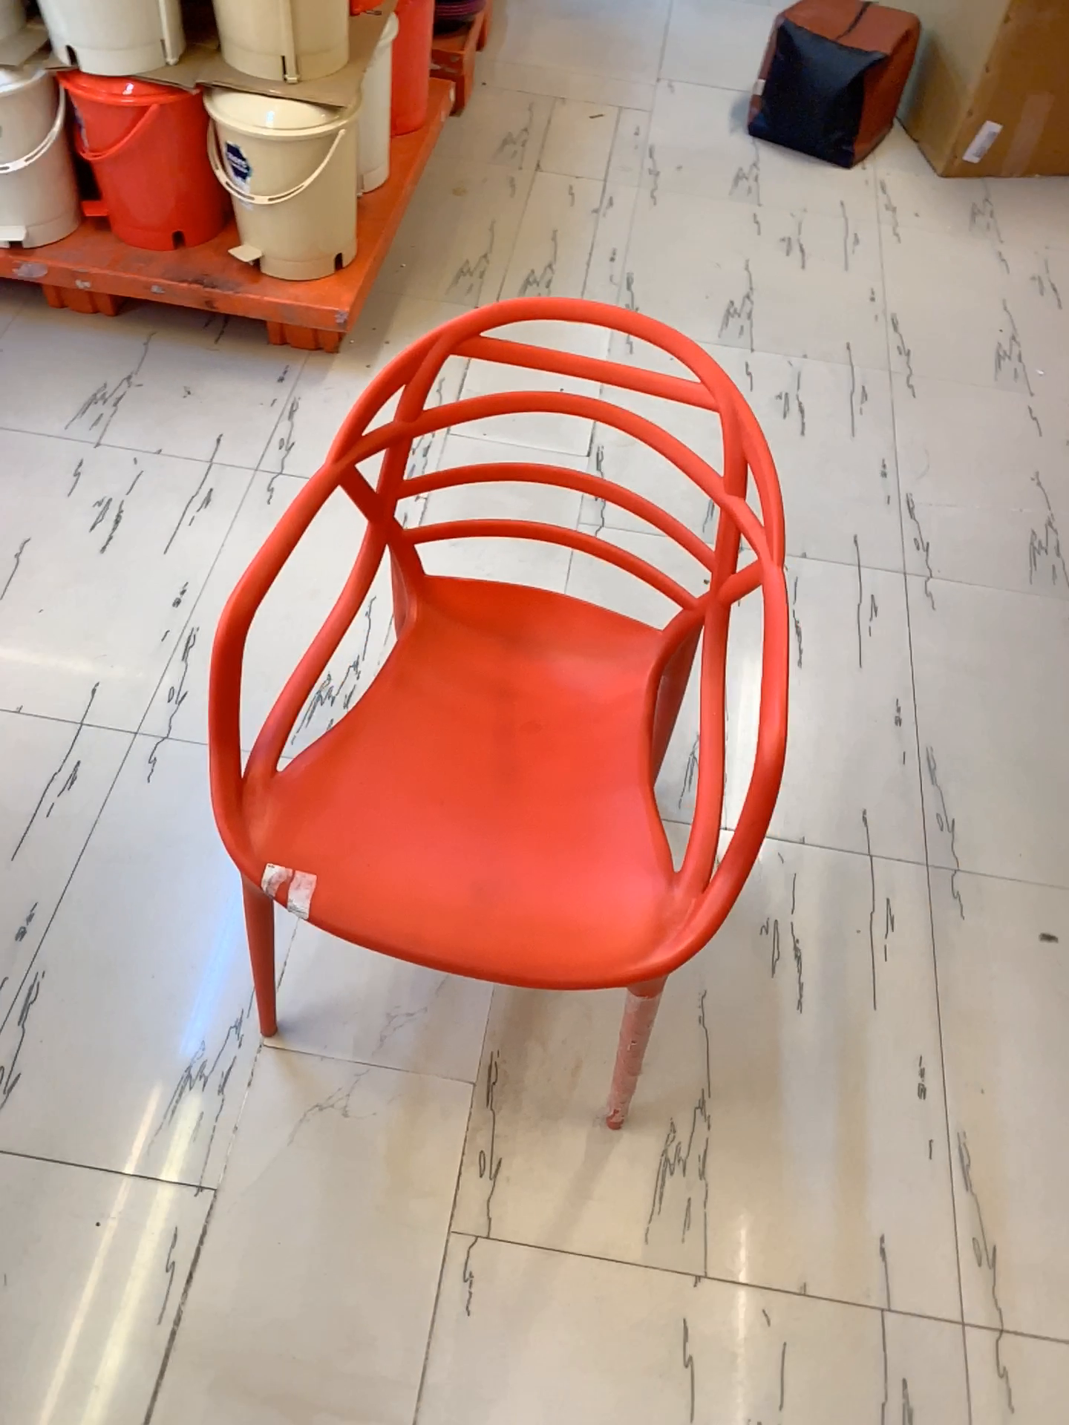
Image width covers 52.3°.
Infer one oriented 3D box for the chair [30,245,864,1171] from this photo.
[{"bbox_3d":[-0.034,0.018,1.179,0.550,0.655,0.634,13,53,4],"label":"chair"}]
